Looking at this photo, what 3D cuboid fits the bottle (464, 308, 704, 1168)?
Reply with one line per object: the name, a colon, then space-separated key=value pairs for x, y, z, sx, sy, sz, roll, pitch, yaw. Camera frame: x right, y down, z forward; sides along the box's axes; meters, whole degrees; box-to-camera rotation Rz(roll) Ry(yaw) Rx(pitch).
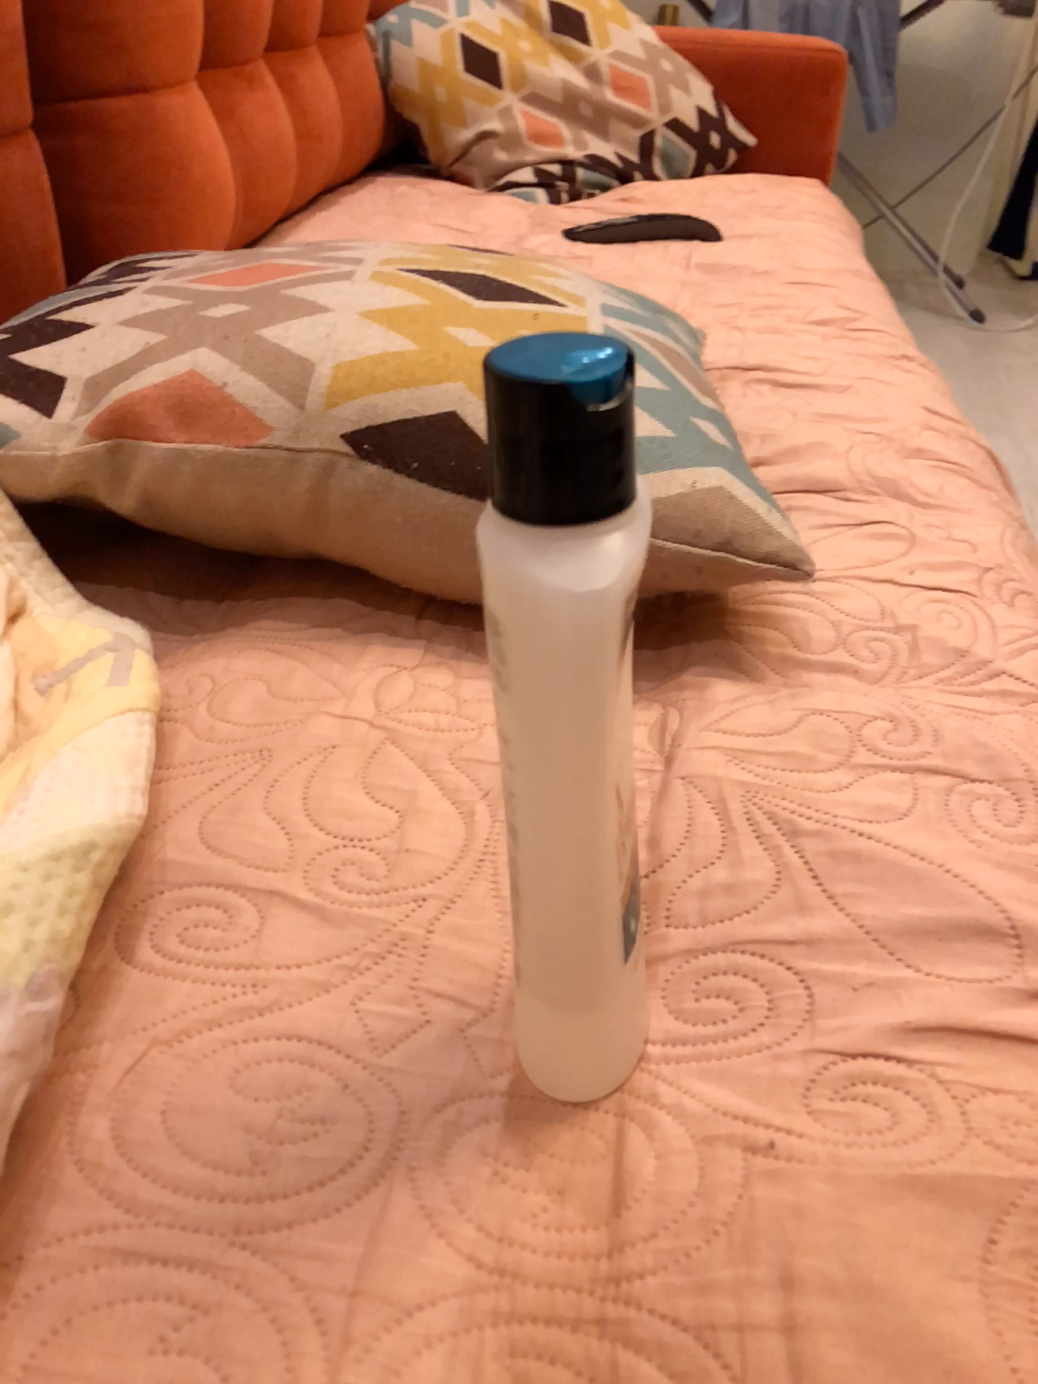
bottle: x=0.017 y=0.018 z=0.275 sx=0.040 sy=0.199 sz=0.071 roll=4 pitch=32 yaw=8
